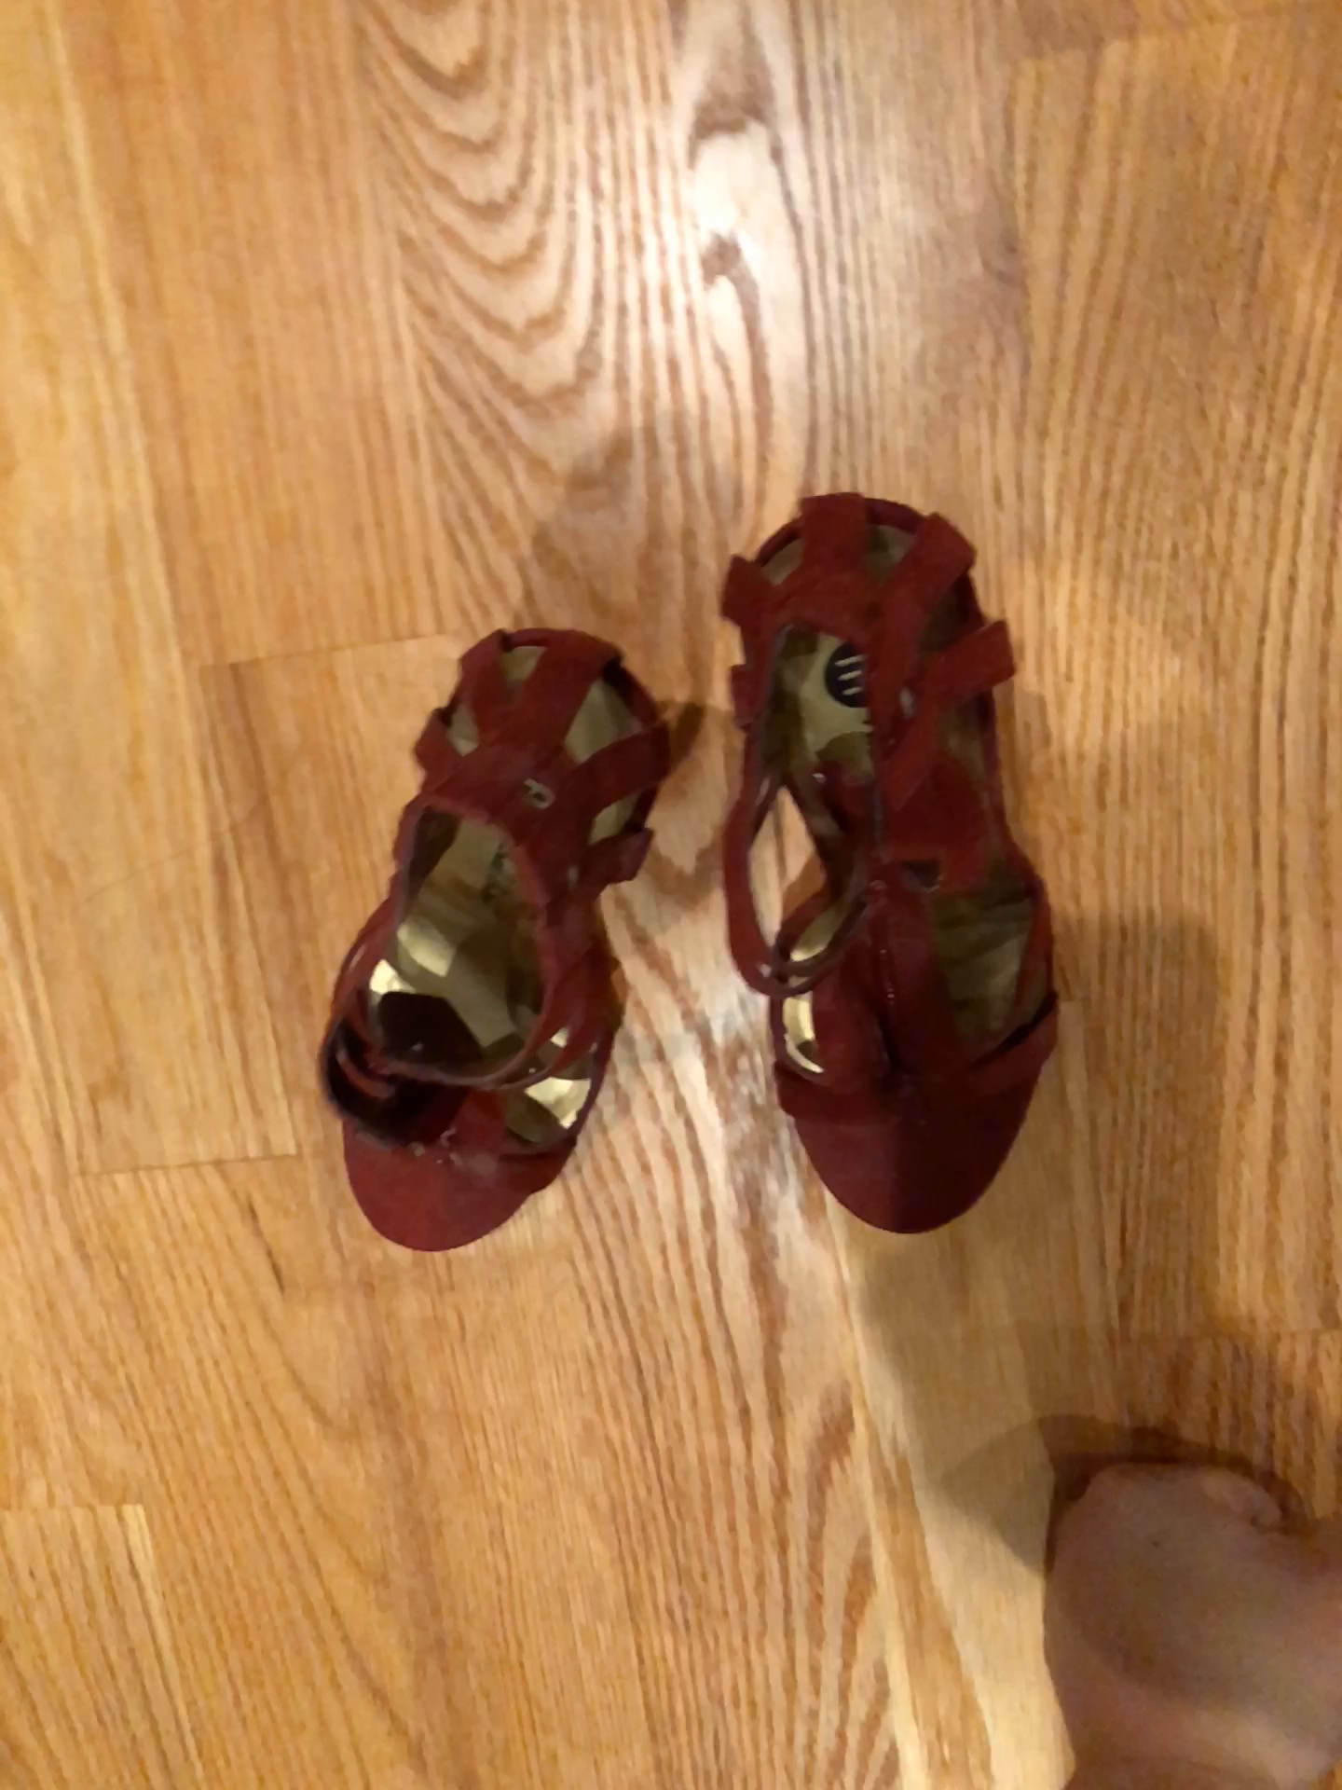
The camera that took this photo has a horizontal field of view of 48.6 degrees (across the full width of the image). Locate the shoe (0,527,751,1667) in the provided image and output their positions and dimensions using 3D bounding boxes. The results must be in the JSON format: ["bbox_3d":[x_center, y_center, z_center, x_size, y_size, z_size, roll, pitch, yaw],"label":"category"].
[{"bbox_3d":[-0.062,0.026,0.352,0.085,0.176,0.199,19,105,4],"label":"shoe"}]

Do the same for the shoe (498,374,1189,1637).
[{"bbox_3d":[0.045,0.011,0.328,0.085,0.176,0.206,-7,101,11],"label":"shoe"}]
